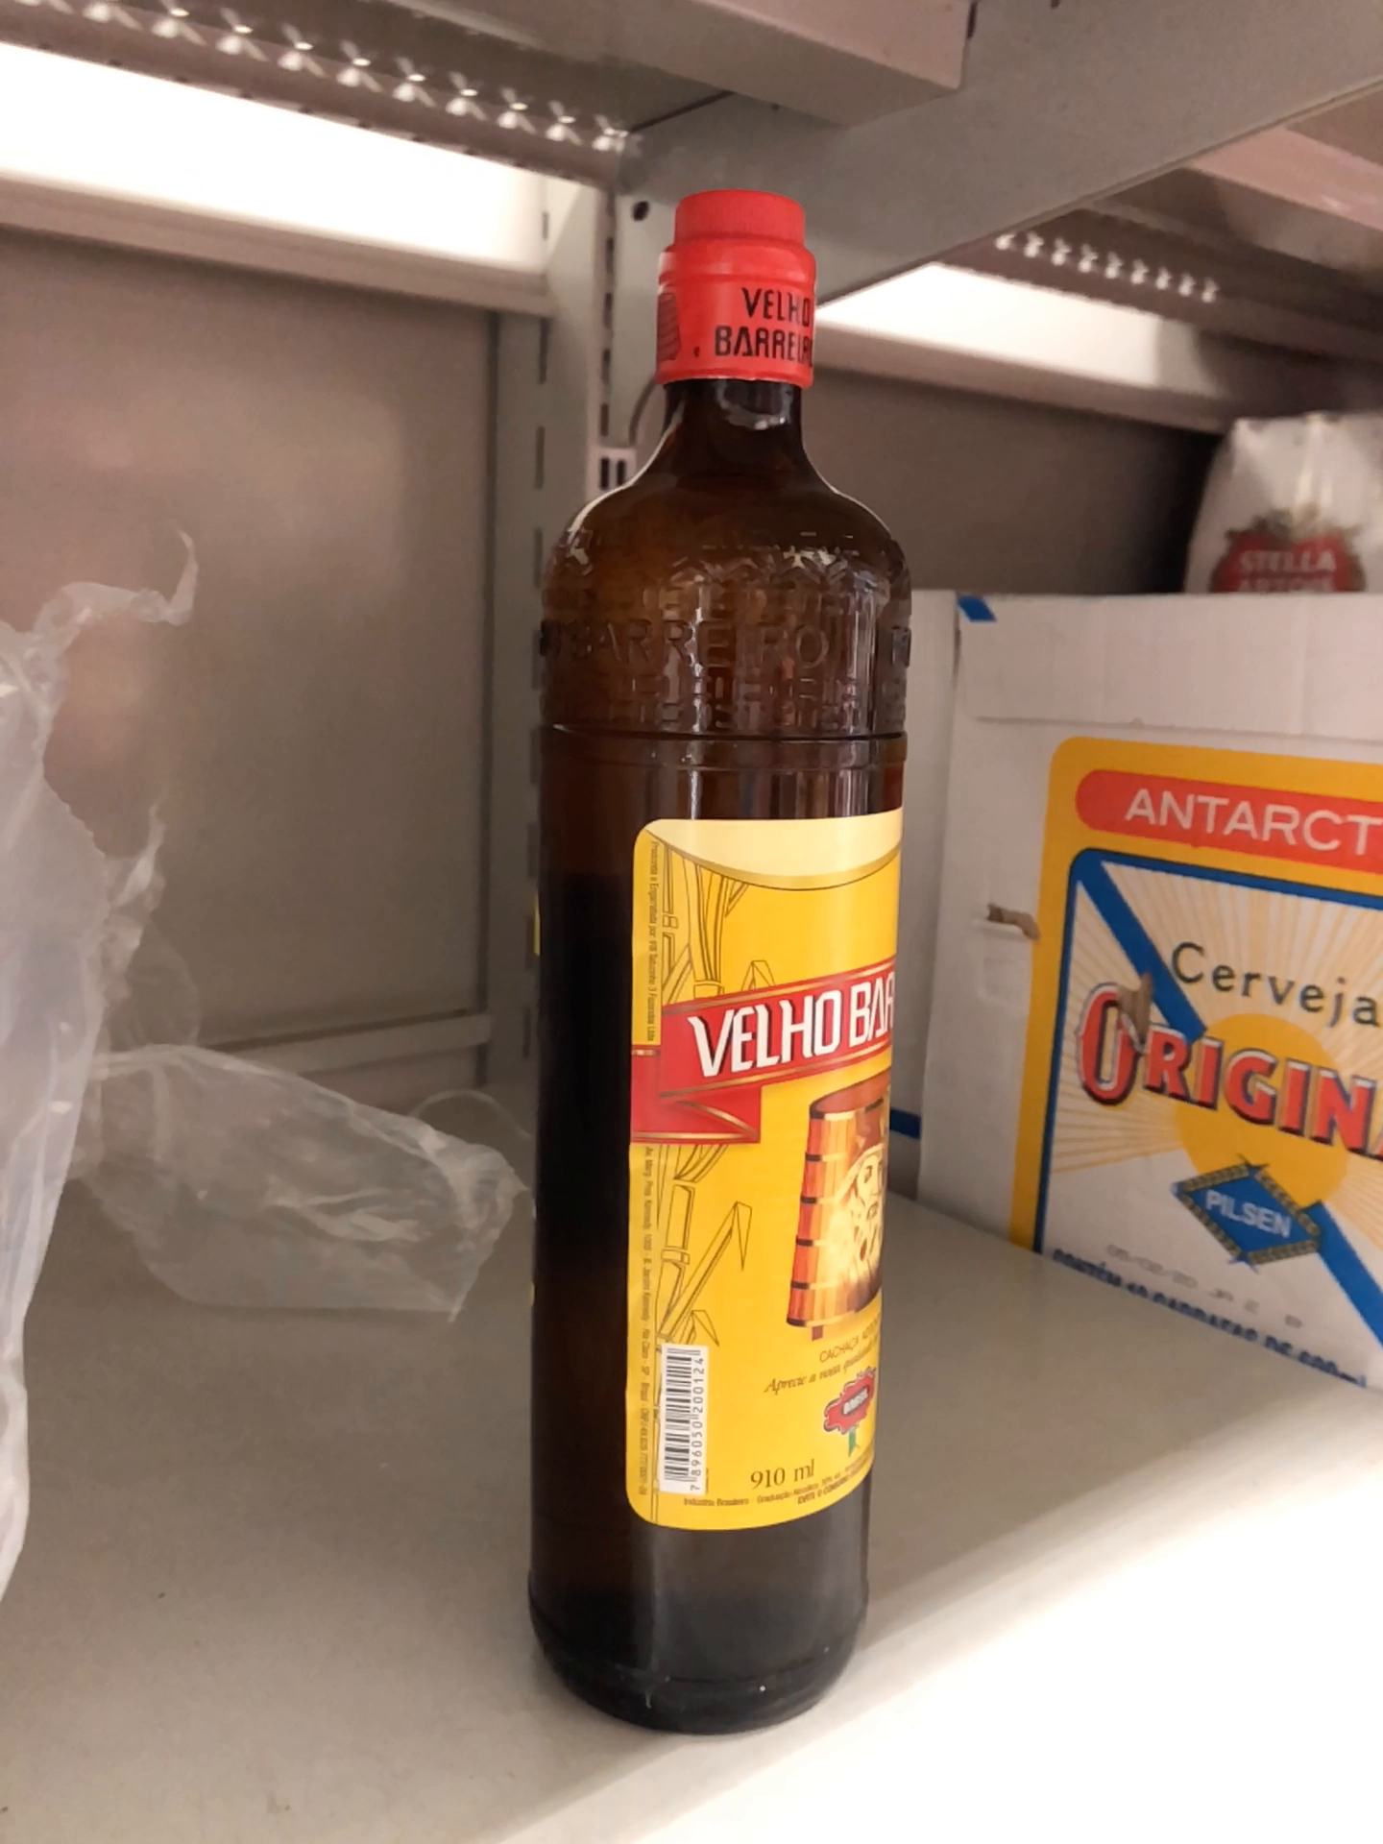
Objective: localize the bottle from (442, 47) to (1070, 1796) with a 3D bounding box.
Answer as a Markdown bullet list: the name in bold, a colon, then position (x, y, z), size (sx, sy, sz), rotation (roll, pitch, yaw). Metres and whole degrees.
- **bottle**: position (0.010, 0.004, 0.315), size (0.080, 0.299, 0.090), rotation (10, 14, 34)
